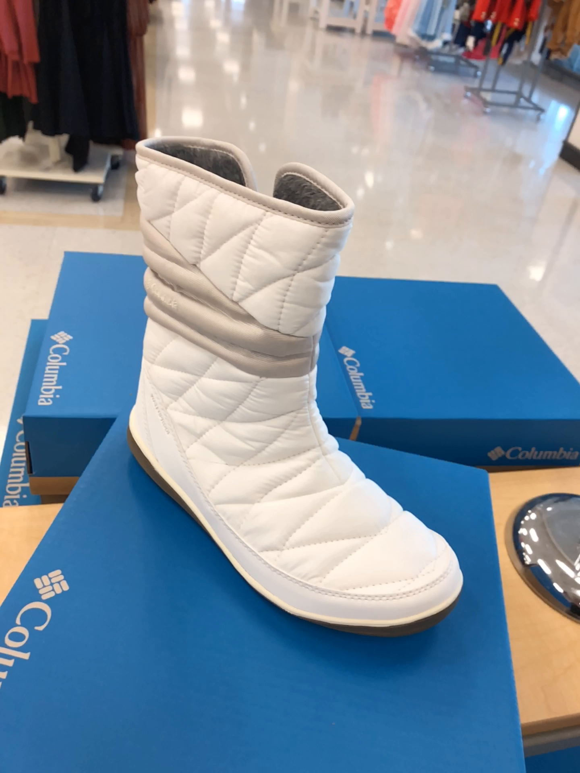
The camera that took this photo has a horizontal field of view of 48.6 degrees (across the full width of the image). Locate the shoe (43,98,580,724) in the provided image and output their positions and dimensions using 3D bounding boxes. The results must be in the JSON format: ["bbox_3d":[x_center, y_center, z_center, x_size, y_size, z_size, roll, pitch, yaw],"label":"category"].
[{"bbox_3d":[-0.003,0.001,0.356,0.261,0.228,0.105,32,42,26],"label":"shoe"}]
